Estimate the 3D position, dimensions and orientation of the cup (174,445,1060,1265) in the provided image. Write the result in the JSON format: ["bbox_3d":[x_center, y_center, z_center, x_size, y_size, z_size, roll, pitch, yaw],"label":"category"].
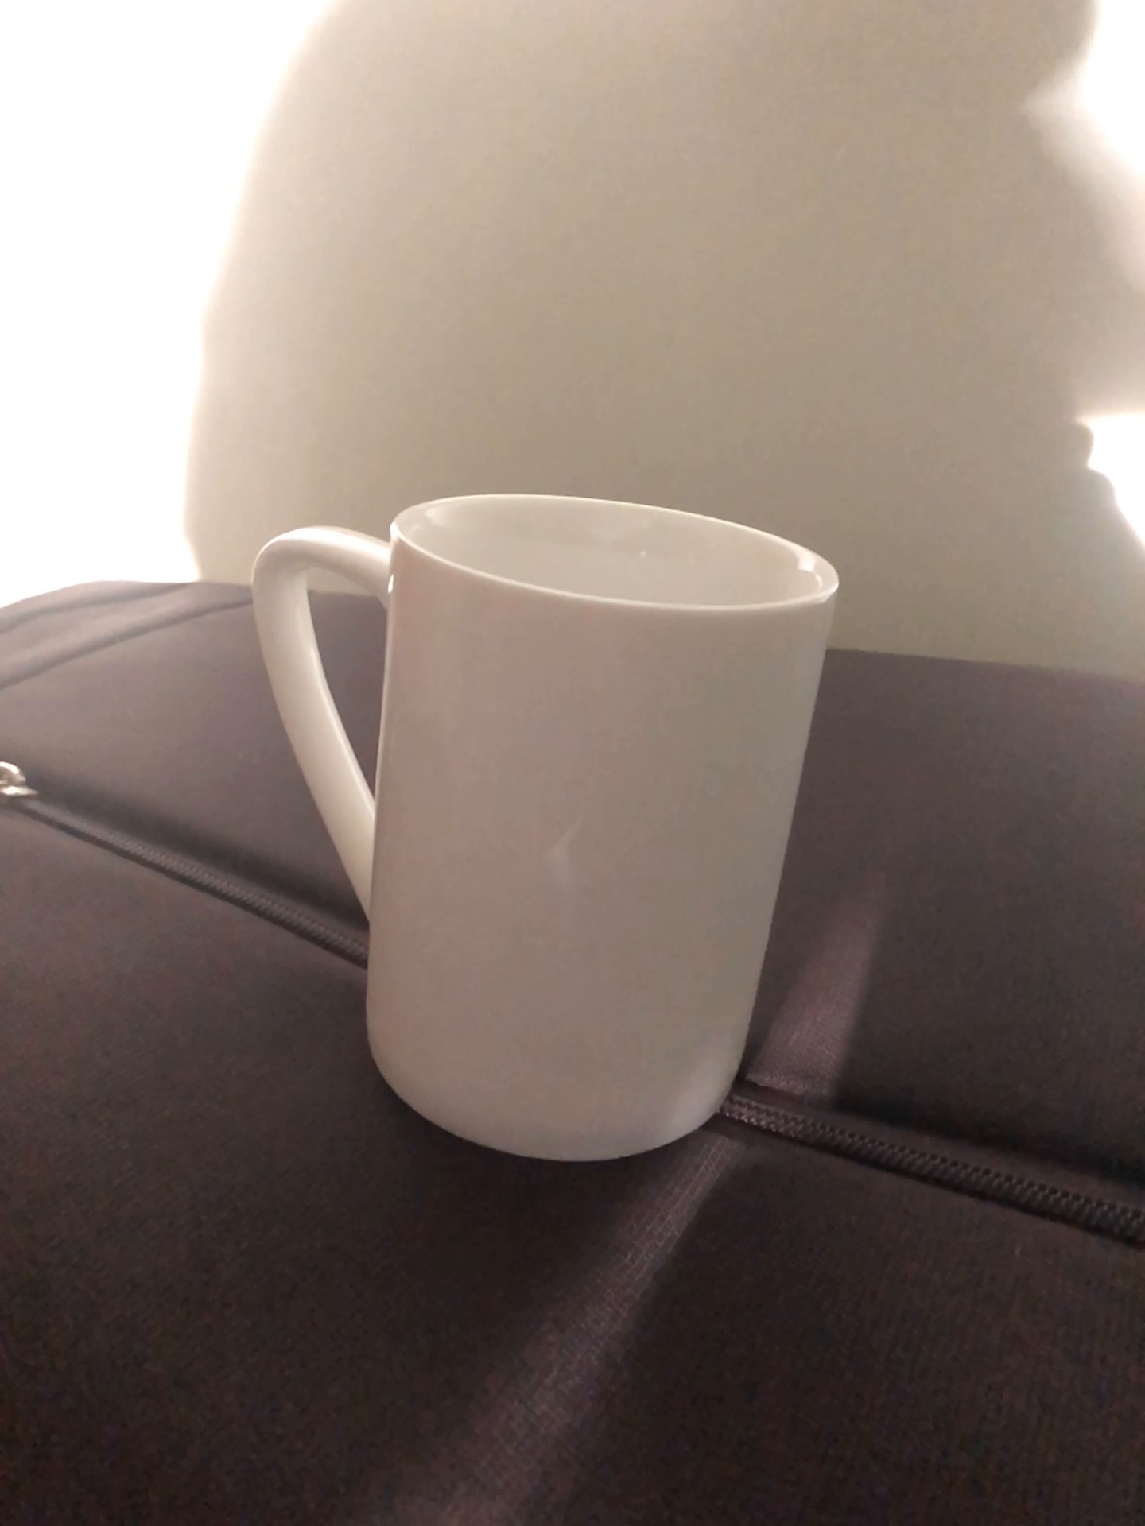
[{"bbox_3d":[0.002,0.000,0.226,0.096,0.090,0.109,-12,28,-43],"label":"cup"}]
